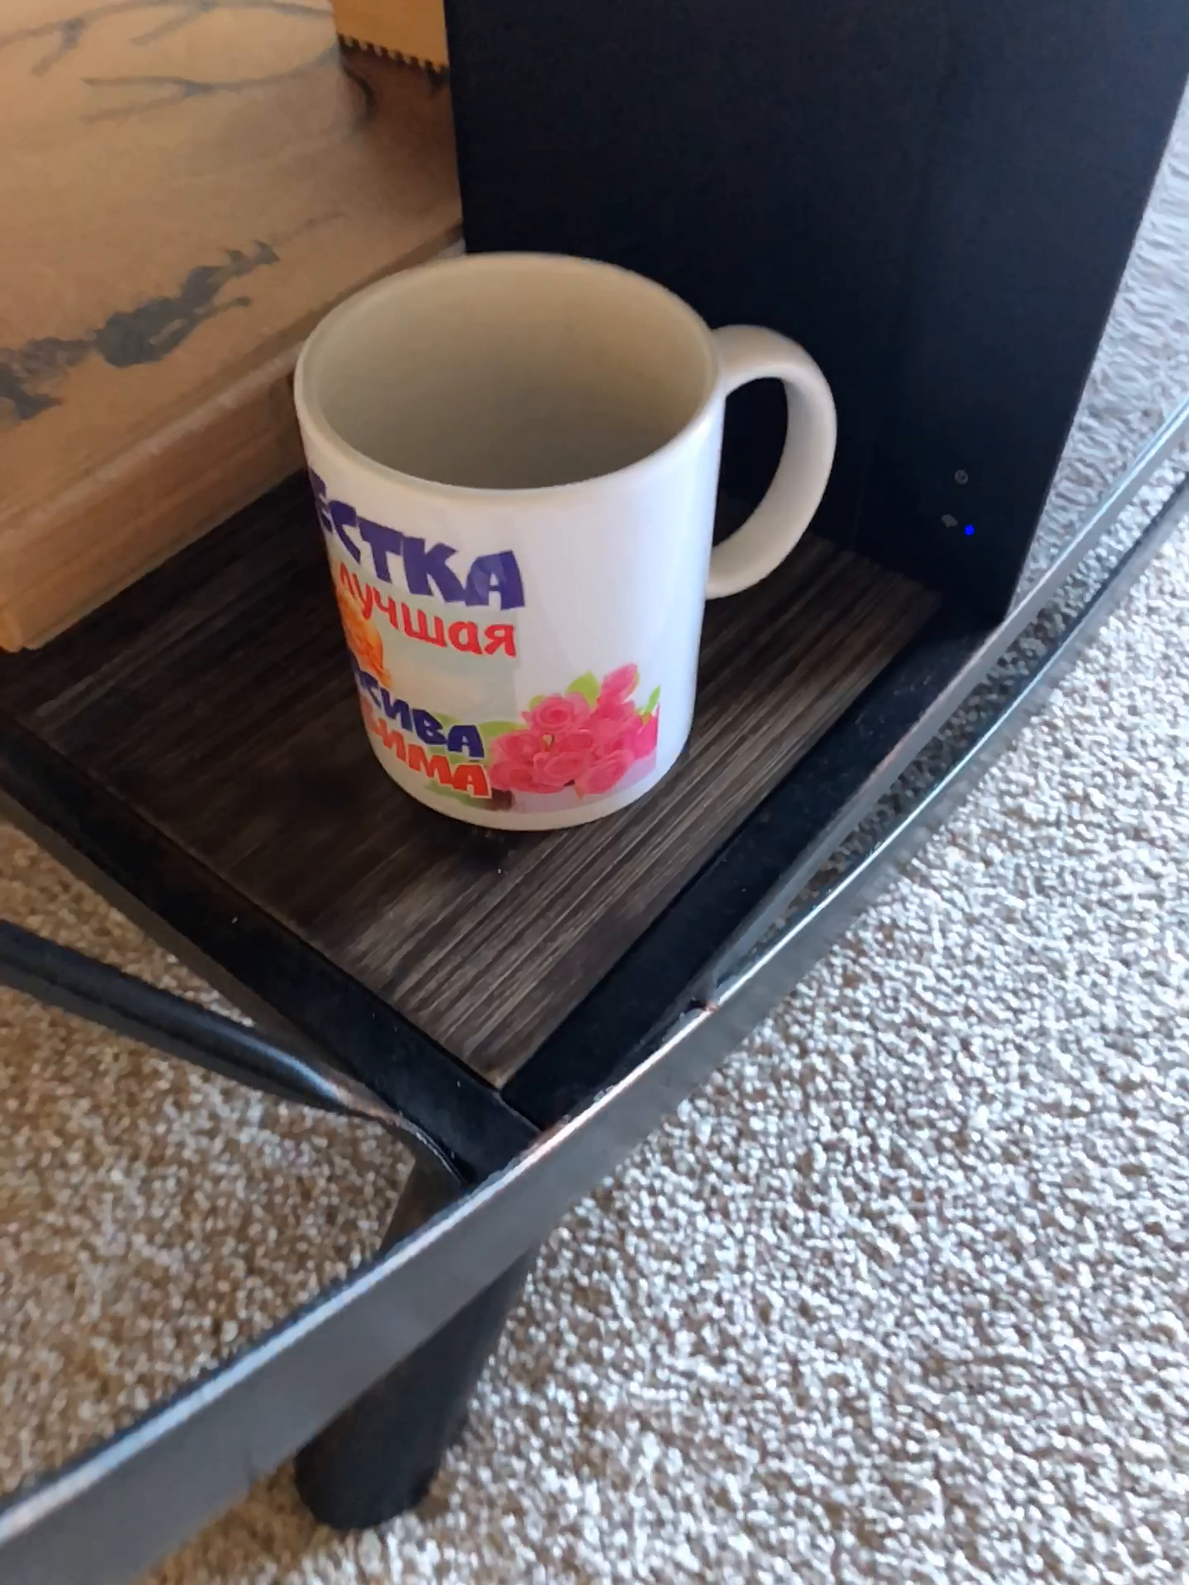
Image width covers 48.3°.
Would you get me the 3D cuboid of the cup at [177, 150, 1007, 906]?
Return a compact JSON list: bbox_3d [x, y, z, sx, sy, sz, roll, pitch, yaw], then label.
[{"bbox_3d":[-0.002,-0.063,0.304,0.140,0.100,0.090,-23,55,-18],"label":"cup"}]
